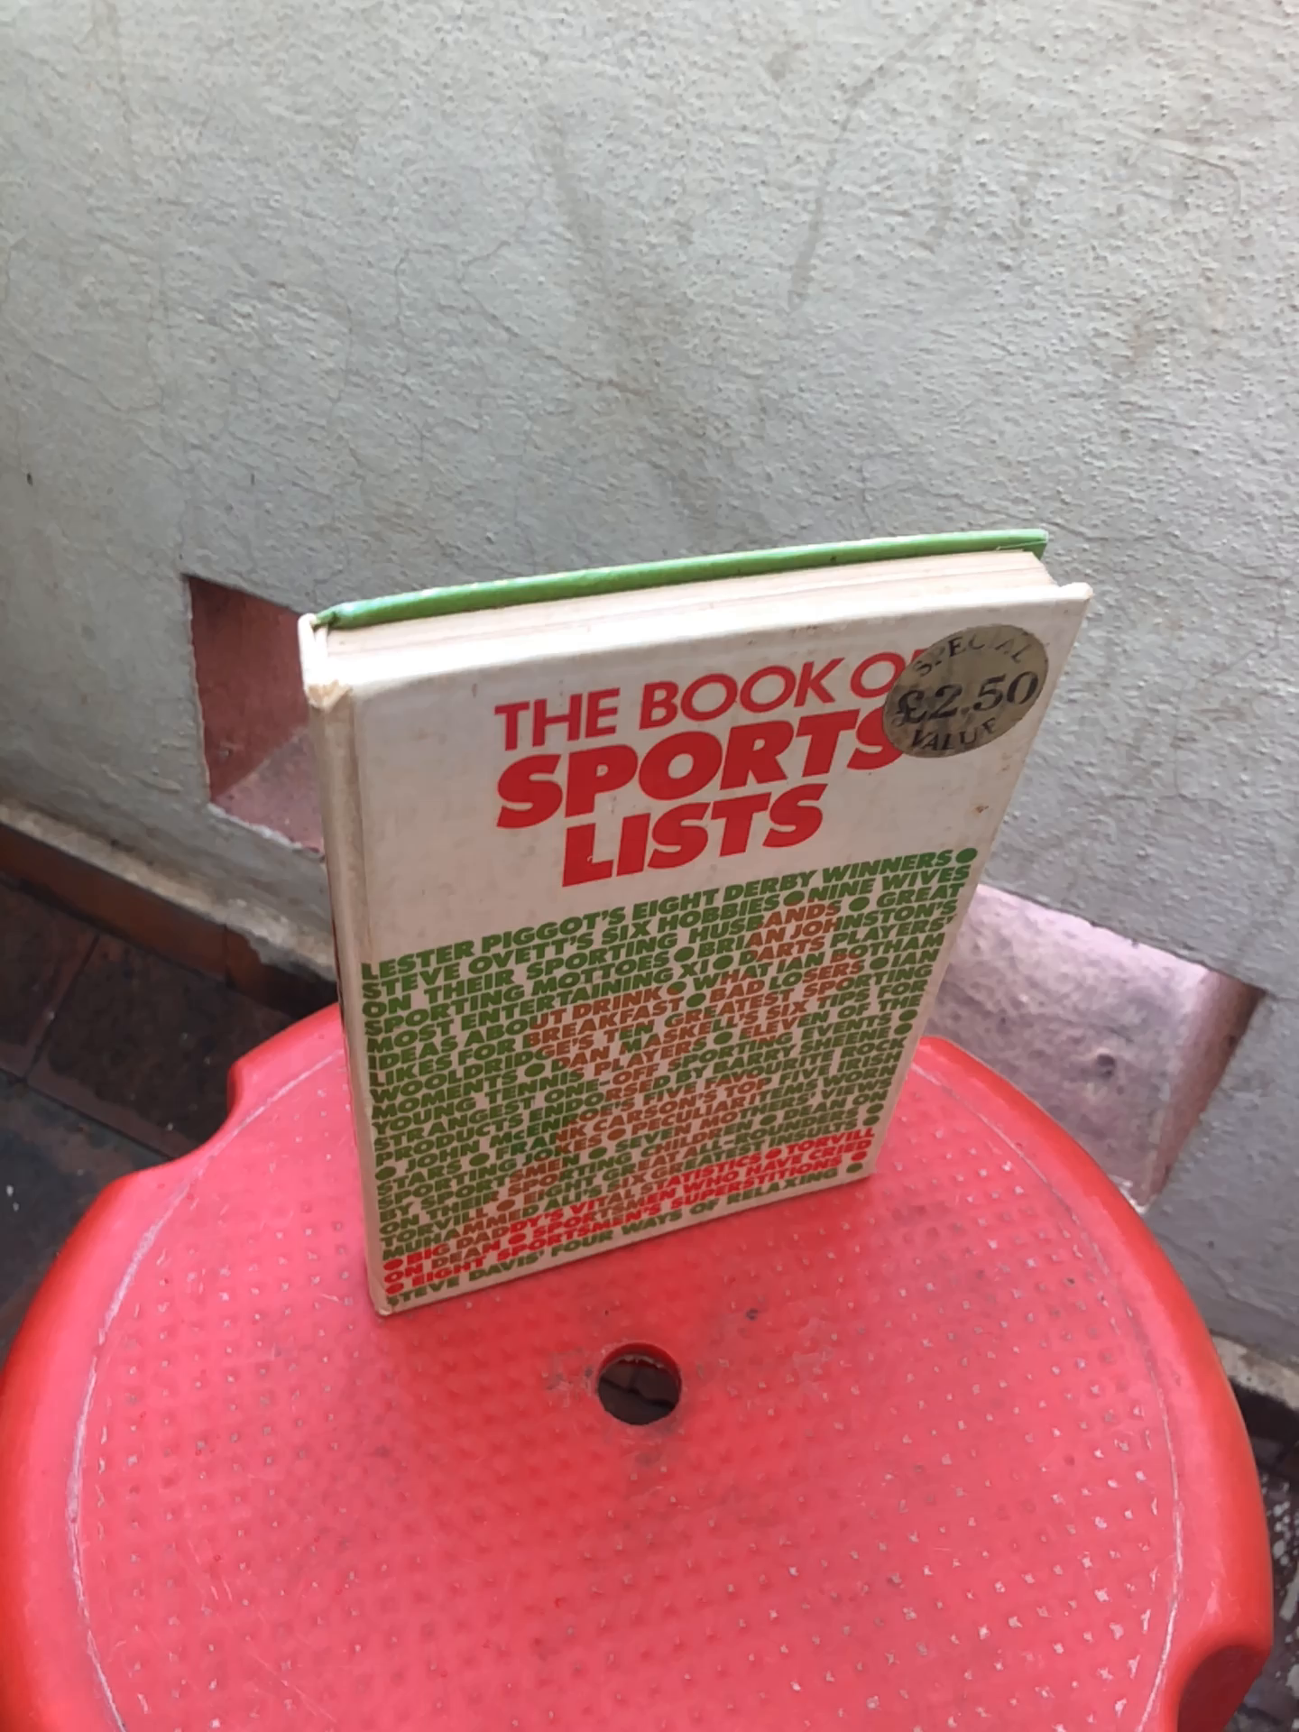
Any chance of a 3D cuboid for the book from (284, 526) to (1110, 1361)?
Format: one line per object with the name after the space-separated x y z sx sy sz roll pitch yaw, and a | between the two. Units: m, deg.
0.001 0.031 0.339 0.150 0.219 0.030 -10 47 -18 | book
